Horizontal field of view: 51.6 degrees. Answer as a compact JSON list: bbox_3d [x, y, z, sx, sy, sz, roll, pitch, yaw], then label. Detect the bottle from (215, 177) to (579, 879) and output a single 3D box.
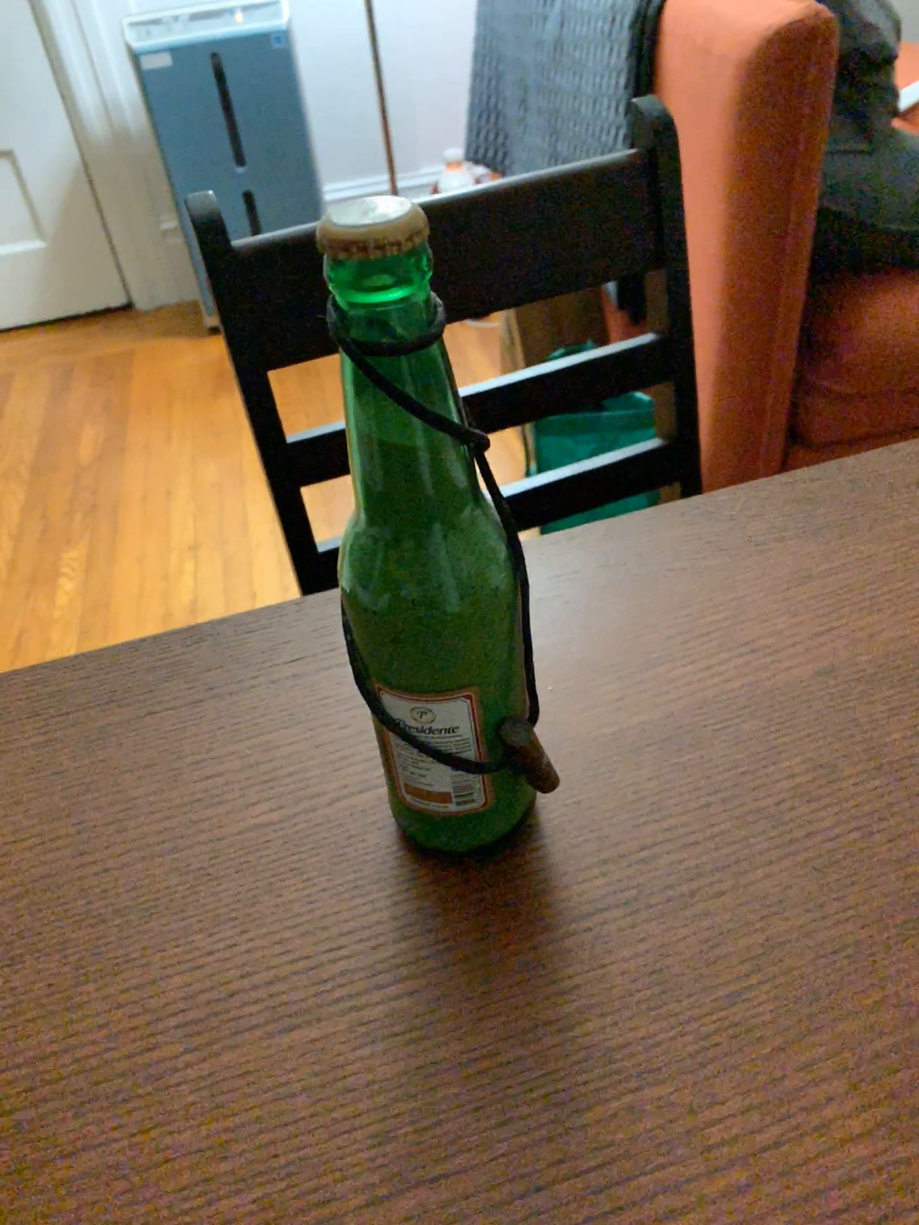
[{"bbox_3d":[-0.003,-0.010,0.325,0.080,0.239,0.070,2,42,10],"label":"bottle"}]
